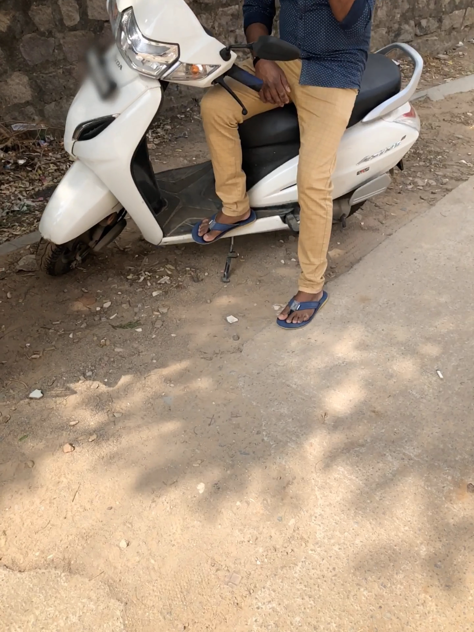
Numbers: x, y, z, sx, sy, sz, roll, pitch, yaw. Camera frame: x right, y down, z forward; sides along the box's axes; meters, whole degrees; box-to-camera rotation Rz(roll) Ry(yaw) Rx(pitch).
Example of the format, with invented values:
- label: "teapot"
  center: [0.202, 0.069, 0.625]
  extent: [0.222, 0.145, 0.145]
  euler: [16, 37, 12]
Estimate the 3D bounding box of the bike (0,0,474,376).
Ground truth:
- label: "bike"
  center: [-0.010, -0.645, 1.937]
  extent: [1.592, 1.199, 0.624]
  euler: [-17, 41, -21]
